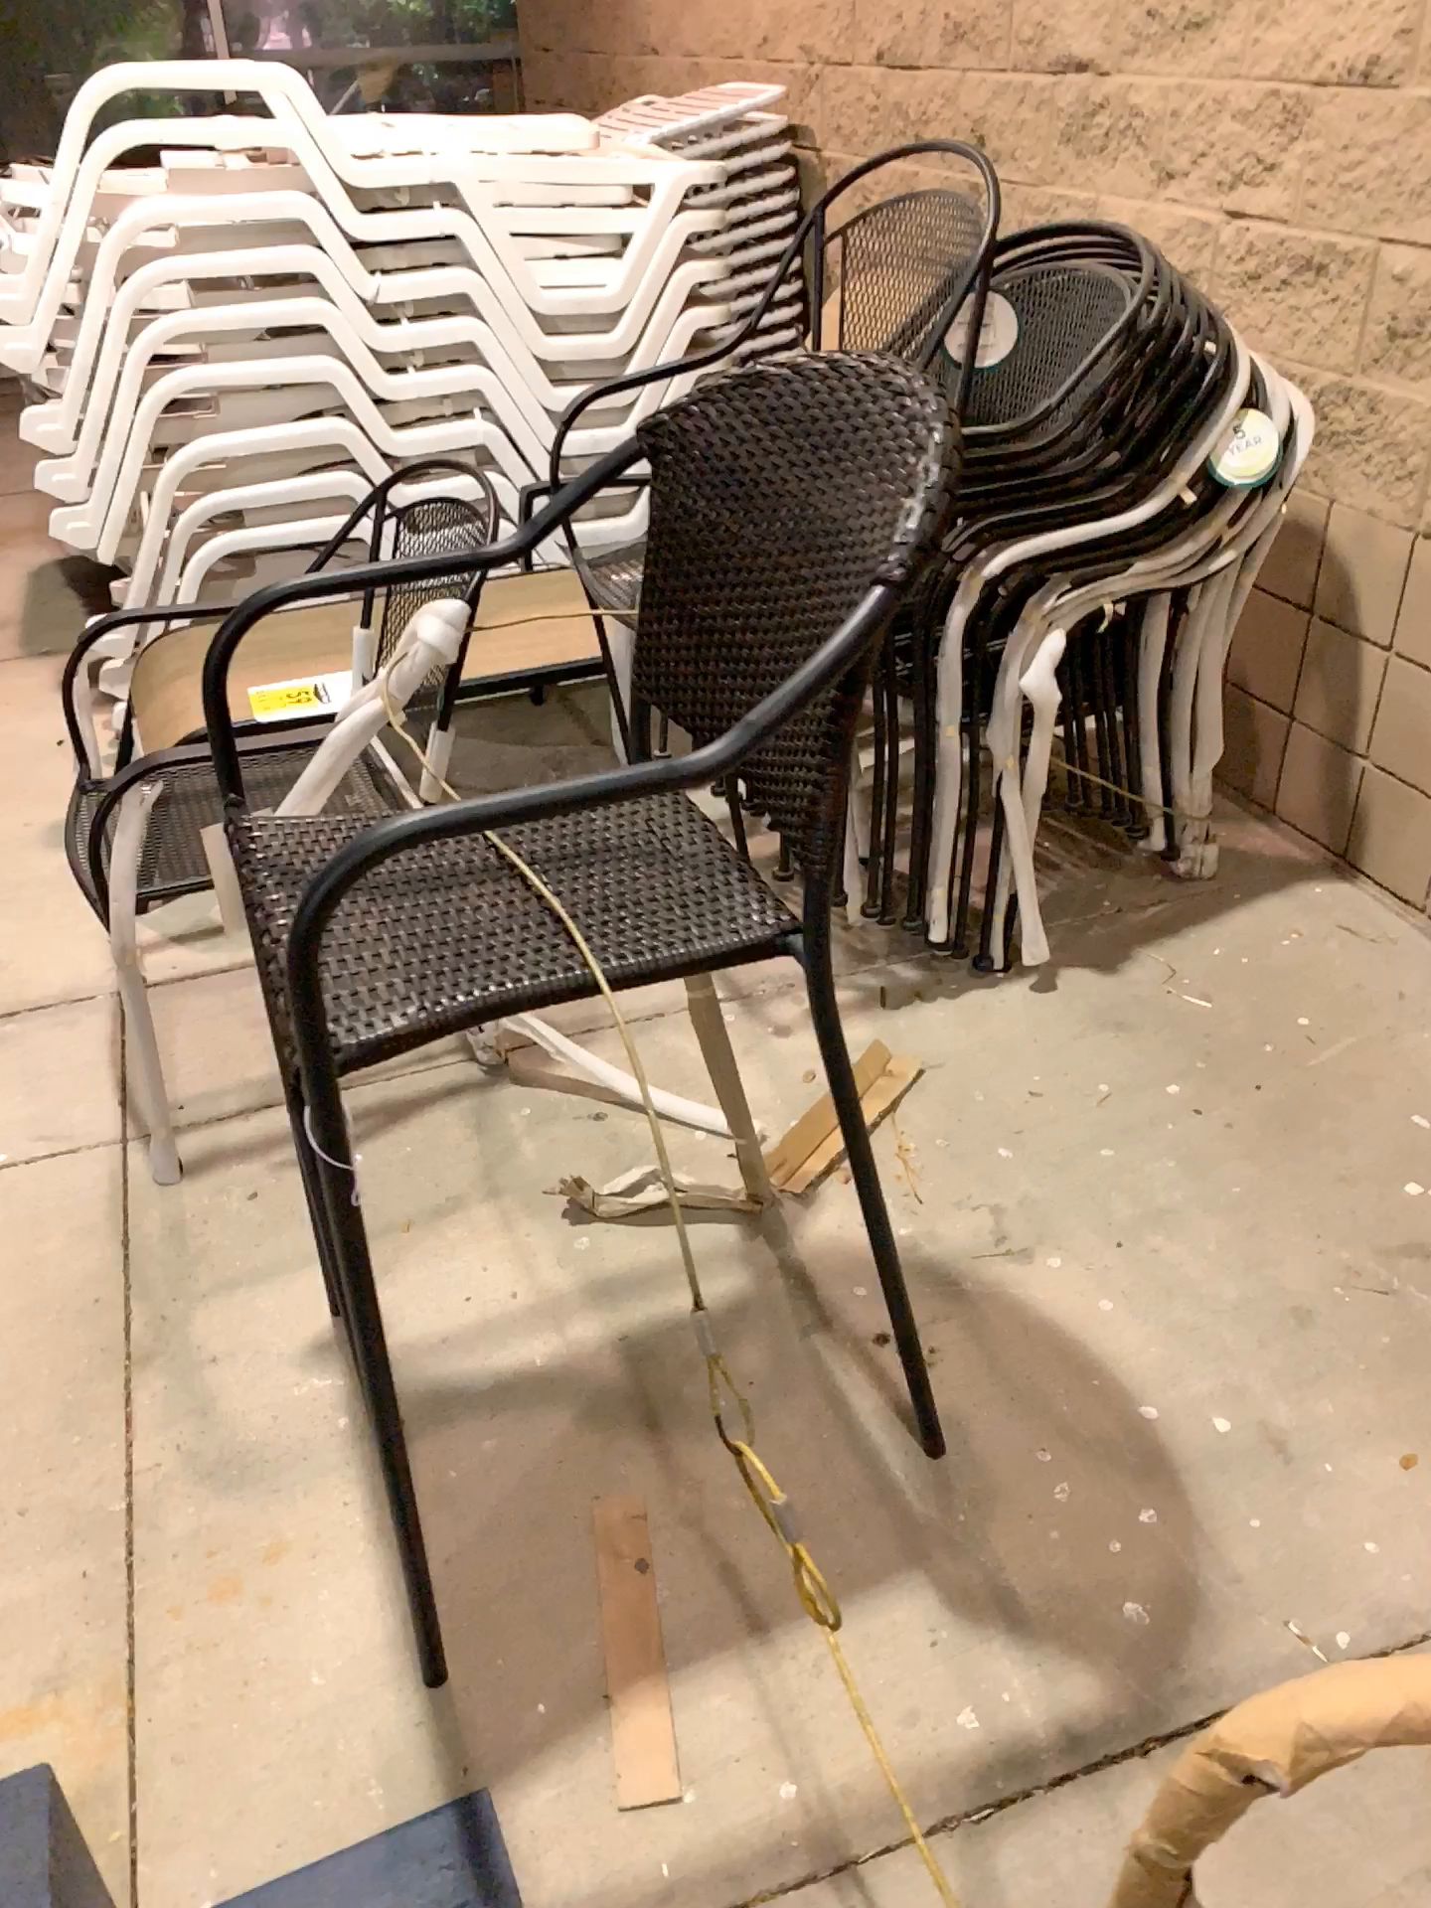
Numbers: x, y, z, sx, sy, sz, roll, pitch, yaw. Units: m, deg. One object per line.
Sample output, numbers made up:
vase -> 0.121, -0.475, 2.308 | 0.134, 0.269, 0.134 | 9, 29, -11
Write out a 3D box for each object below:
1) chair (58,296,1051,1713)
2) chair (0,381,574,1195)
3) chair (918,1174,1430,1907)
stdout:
chair -> -0.141, 0.043, 1.383 | 0.607, 1.101, 0.560 | -14, 35, -17
chair -> -0.618, -0.255, 1.994 | 0.607, 0.833, 0.580 | -16, 35, -19
chair -> 0.473, 0.634, 0.618 | 0.627, 0.833, 0.570 | -6, 33, -4
